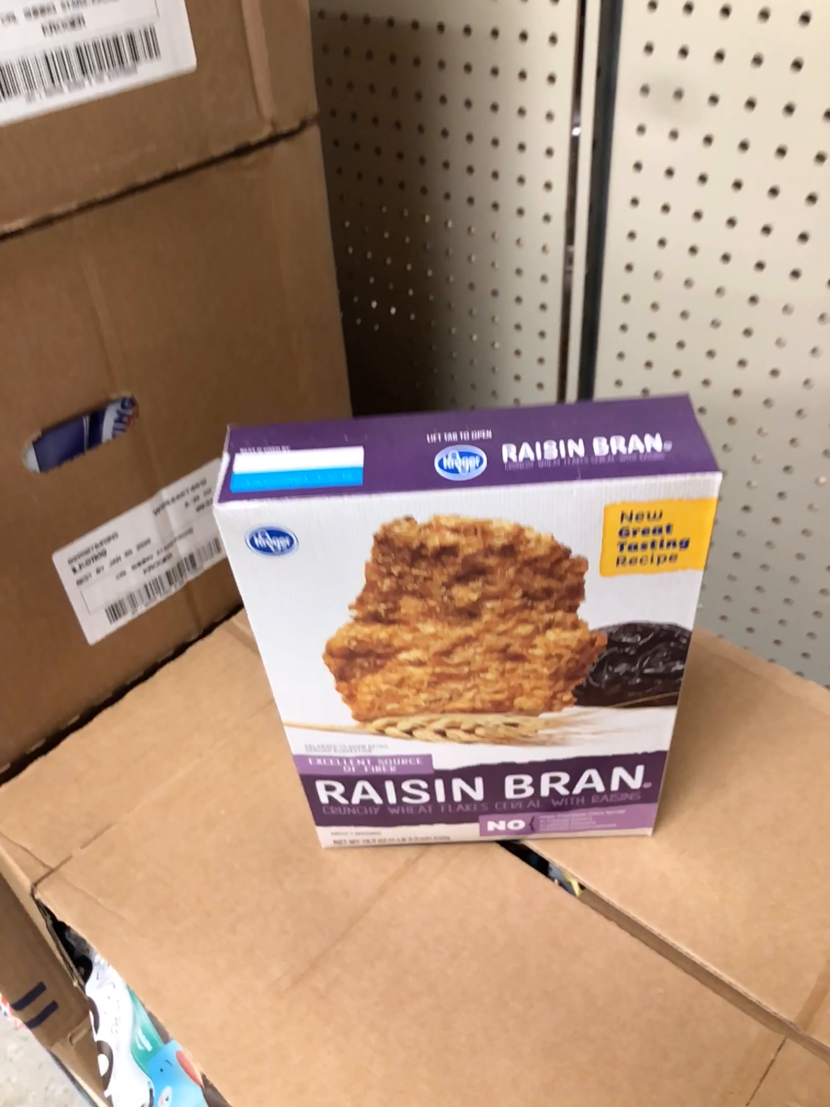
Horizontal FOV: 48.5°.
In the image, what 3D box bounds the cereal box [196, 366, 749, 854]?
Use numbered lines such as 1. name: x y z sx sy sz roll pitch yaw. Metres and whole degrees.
1. cereal box: 0.028 0.047 0.448 0.200 0.269 0.060 -3 44 2
